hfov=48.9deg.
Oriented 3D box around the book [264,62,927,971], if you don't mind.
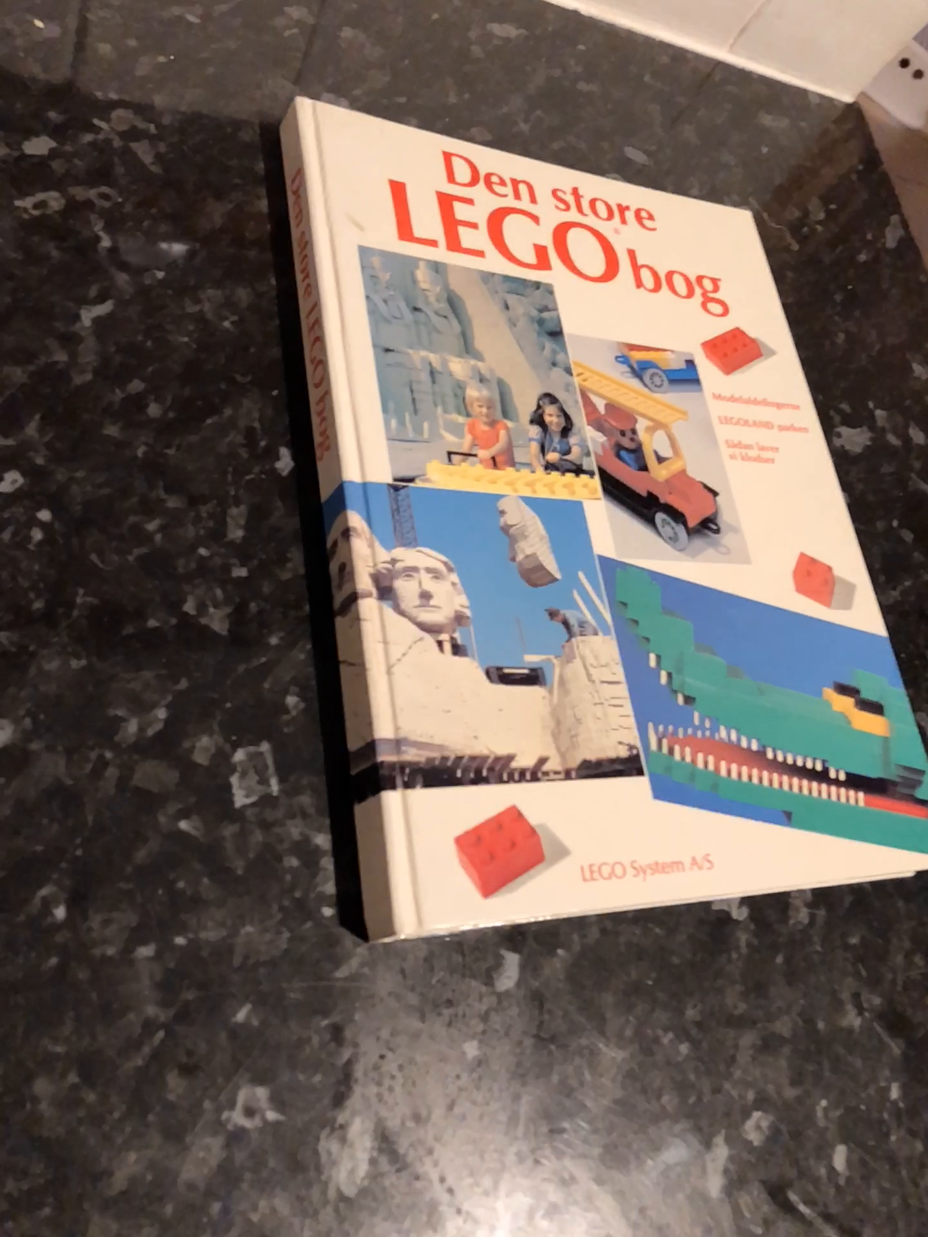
[{"bbox_3d":[0.050,-0.045,0.352,0.211,0.030,0.291,2,66,-27],"label":"book"}]
